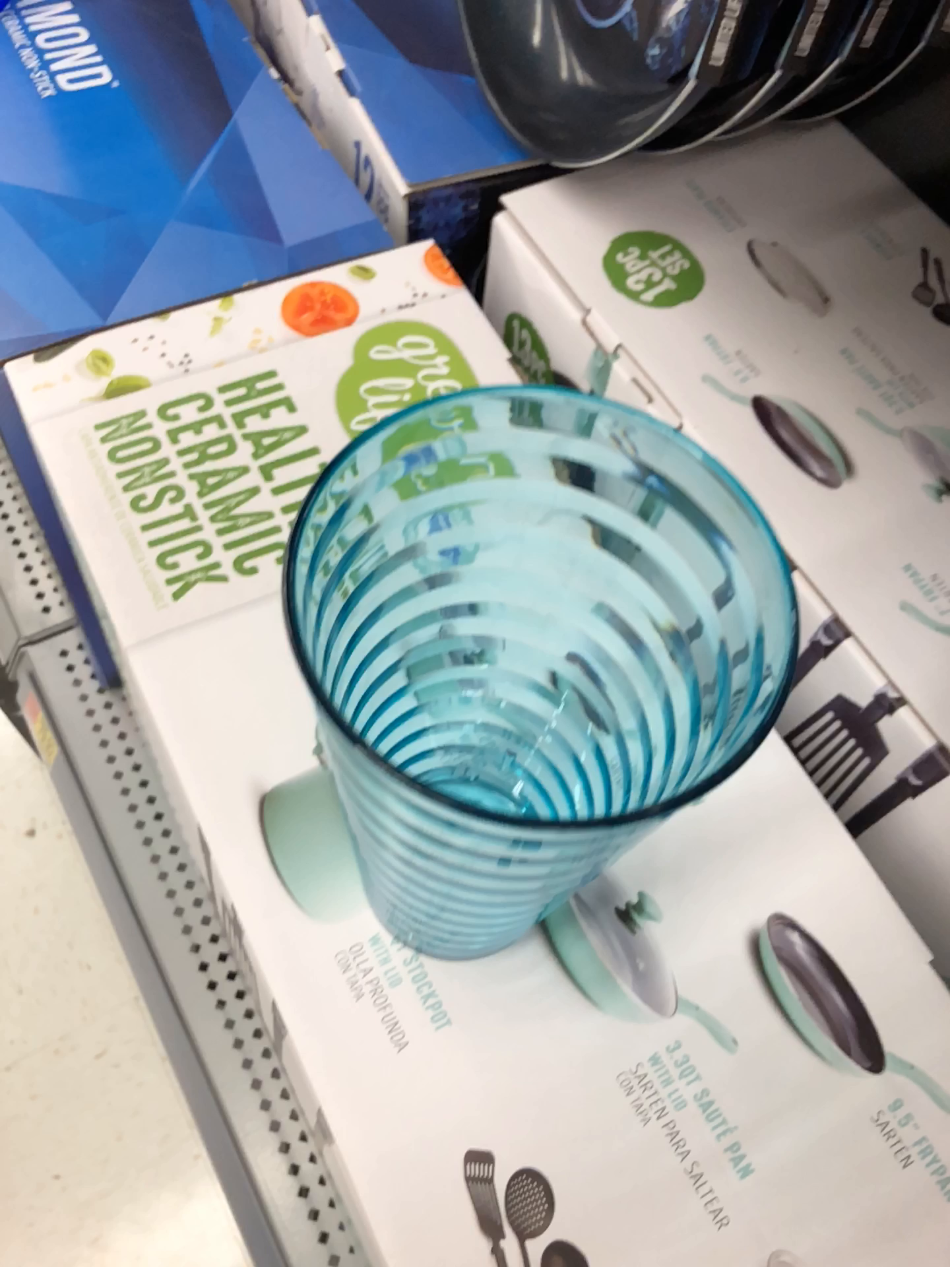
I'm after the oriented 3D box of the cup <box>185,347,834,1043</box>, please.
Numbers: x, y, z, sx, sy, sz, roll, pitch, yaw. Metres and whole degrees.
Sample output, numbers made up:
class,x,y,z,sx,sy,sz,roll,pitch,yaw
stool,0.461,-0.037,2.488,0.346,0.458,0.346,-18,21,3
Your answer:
class,x,y,z,sx,sy,sz,roll,pitch,yaw
cup,0.004,0.029,0.258,0.103,0.151,0.104,2,61,-4
